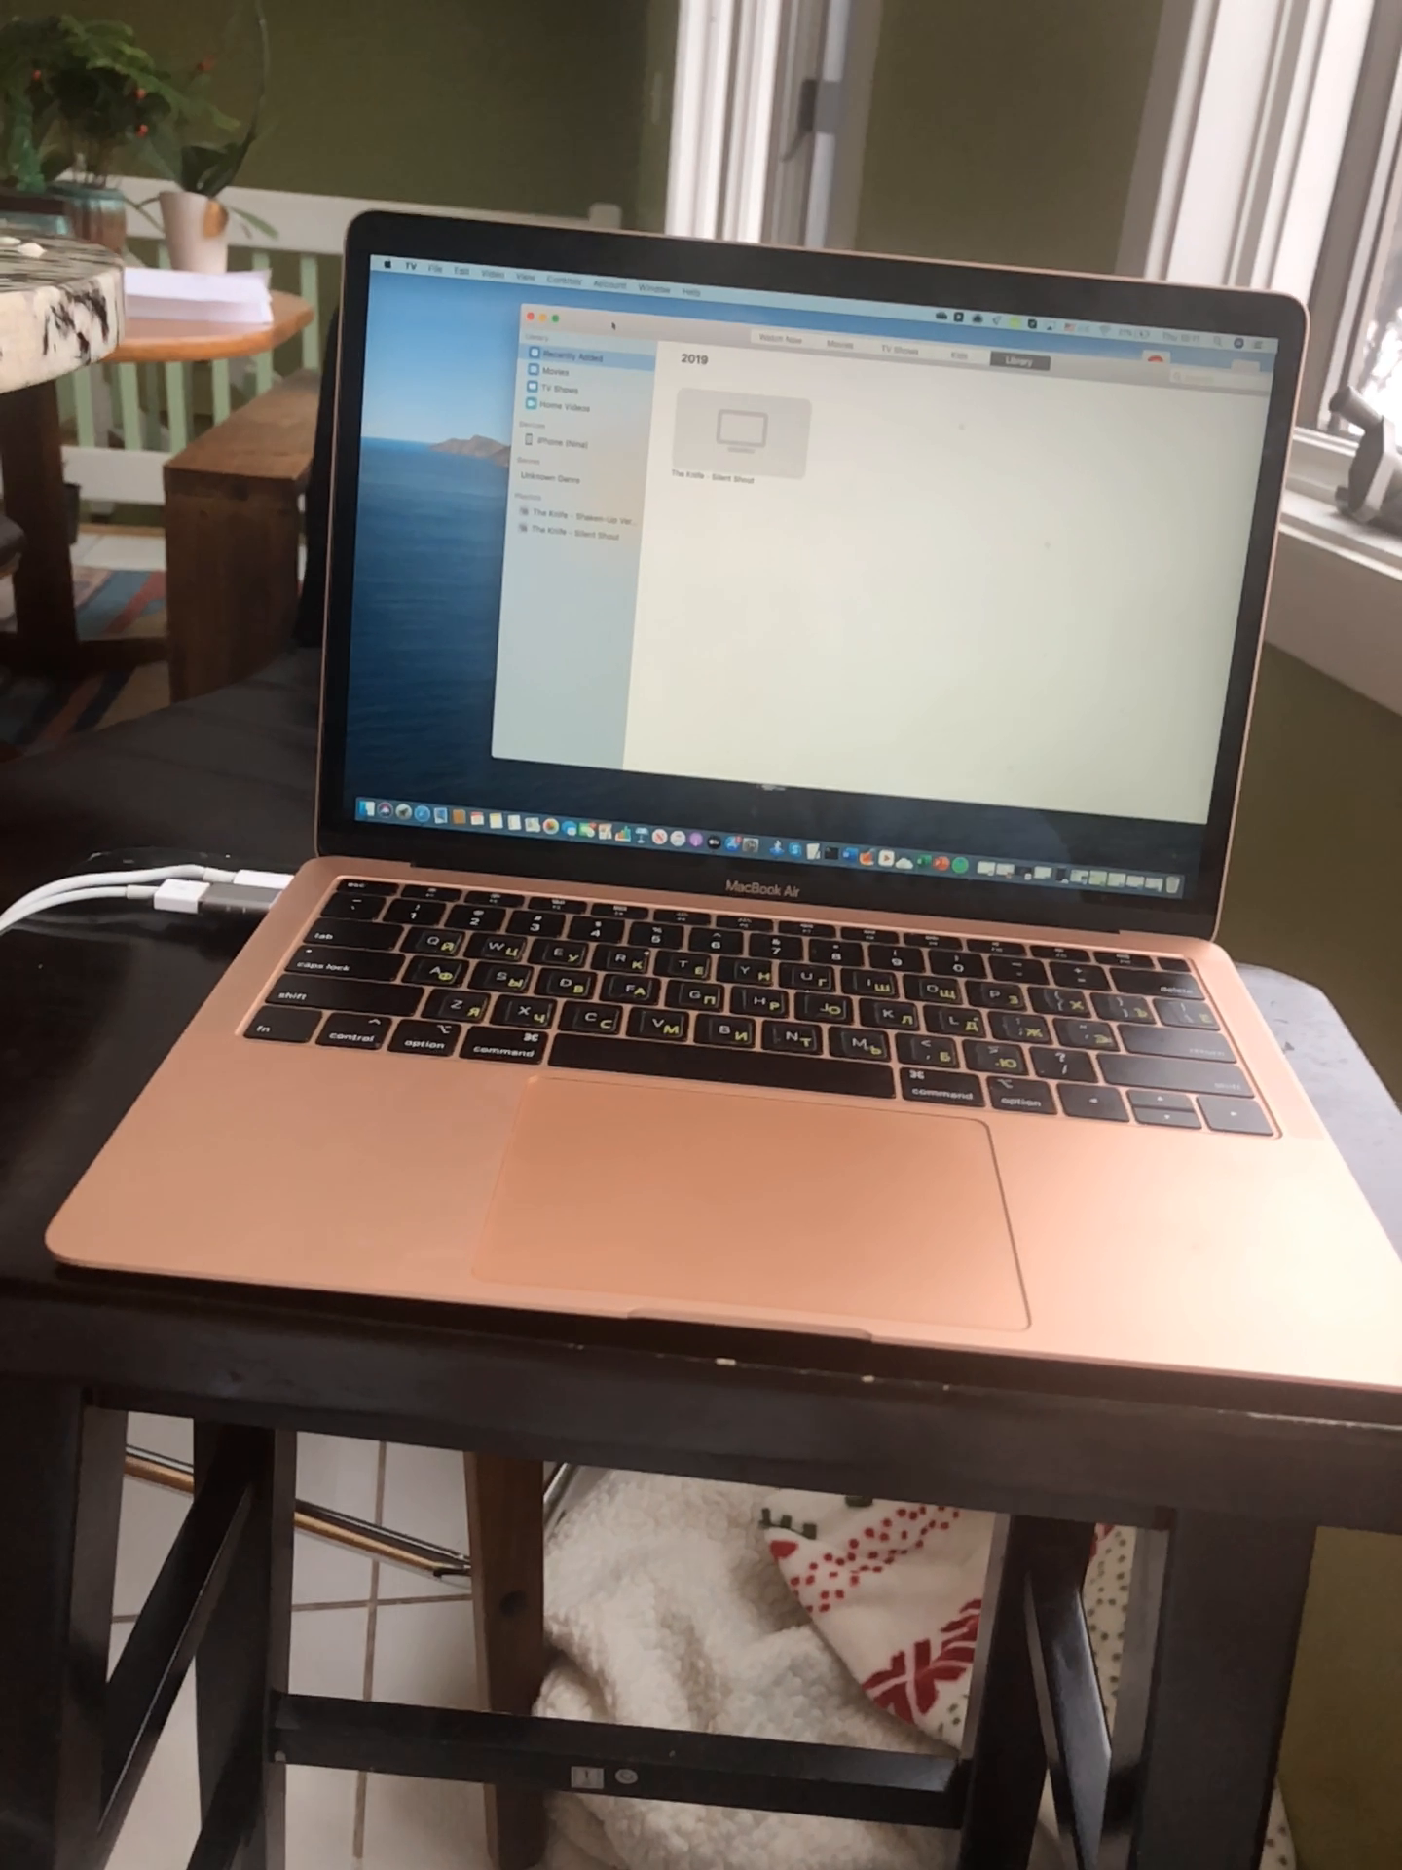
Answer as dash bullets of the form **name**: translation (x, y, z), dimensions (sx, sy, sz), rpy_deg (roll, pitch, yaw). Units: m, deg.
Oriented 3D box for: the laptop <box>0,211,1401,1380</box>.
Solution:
- **laptop**: translation (0.025, -0.067, 0.404), dimensions (0.297, 0.196, 0.265), rpy_deg (5, 25, 0)
